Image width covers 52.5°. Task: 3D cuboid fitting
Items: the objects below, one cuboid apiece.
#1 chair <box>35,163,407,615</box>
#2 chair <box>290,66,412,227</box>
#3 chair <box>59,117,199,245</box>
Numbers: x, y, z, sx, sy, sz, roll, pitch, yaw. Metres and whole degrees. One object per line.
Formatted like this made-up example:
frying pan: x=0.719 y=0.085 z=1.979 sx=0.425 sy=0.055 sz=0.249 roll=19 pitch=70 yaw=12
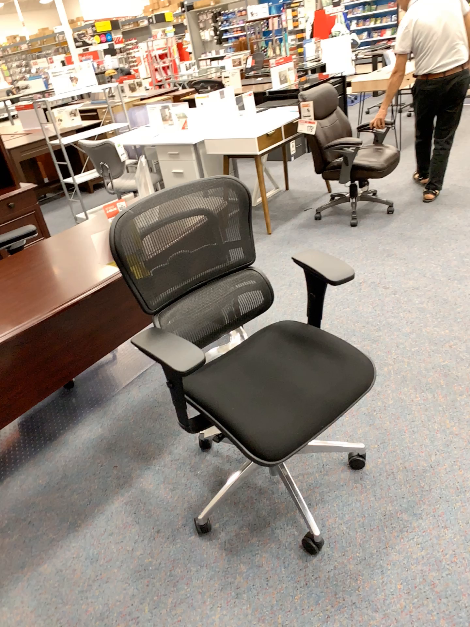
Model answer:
chair: x=0.027 y=0.149 z=1.474 sx=0.698 sy=0.983 sz=0.687 roll=-33 pitch=36 yaw=-32
chair: x=0.910 y=-1.251 z=3.583 sx=0.616 sy=0.913 sz=0.820 roll=8 pitch=35 yaw=30
chair: x=-0.870 y=-1.139 z=4.040 sx=0.709 sy=0.824 sz=0.676 roll=15 pitch=39 yaw=37
